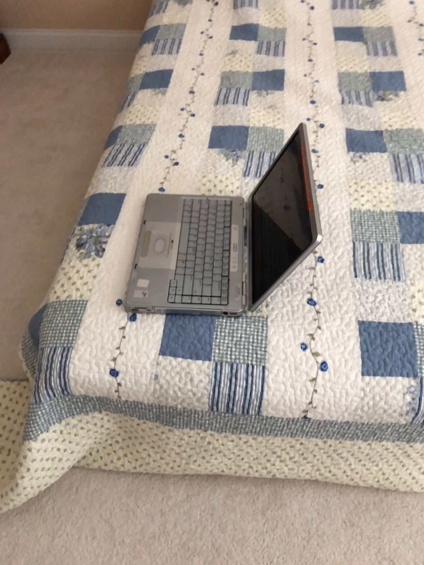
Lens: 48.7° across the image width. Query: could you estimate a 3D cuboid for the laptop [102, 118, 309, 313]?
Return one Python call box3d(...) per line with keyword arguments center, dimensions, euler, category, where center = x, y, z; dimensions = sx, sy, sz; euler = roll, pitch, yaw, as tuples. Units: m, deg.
box3d(center=(0.000, -0.138, 0.915), dimensions=(0.326, 0.193, 0.324), euler=(3, 50, 1), category="laptop")
